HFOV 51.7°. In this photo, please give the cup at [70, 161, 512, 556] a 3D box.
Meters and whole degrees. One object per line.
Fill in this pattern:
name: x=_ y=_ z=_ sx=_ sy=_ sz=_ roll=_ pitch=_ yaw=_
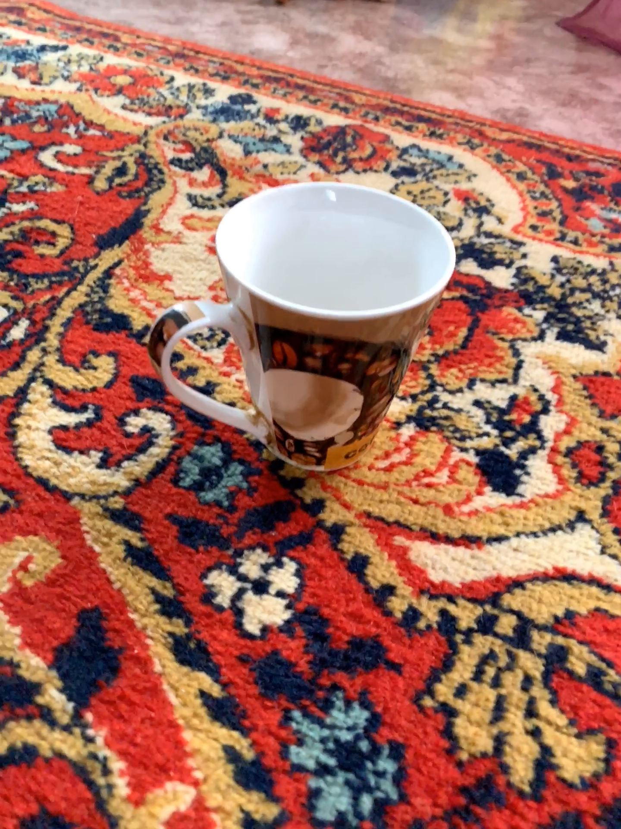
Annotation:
cup: x=-0.010 y=-0.025 z=0.222 sx=0.110 sy=0.079 sz=0.080 roll=-18 pitch=49 yaw=-23
